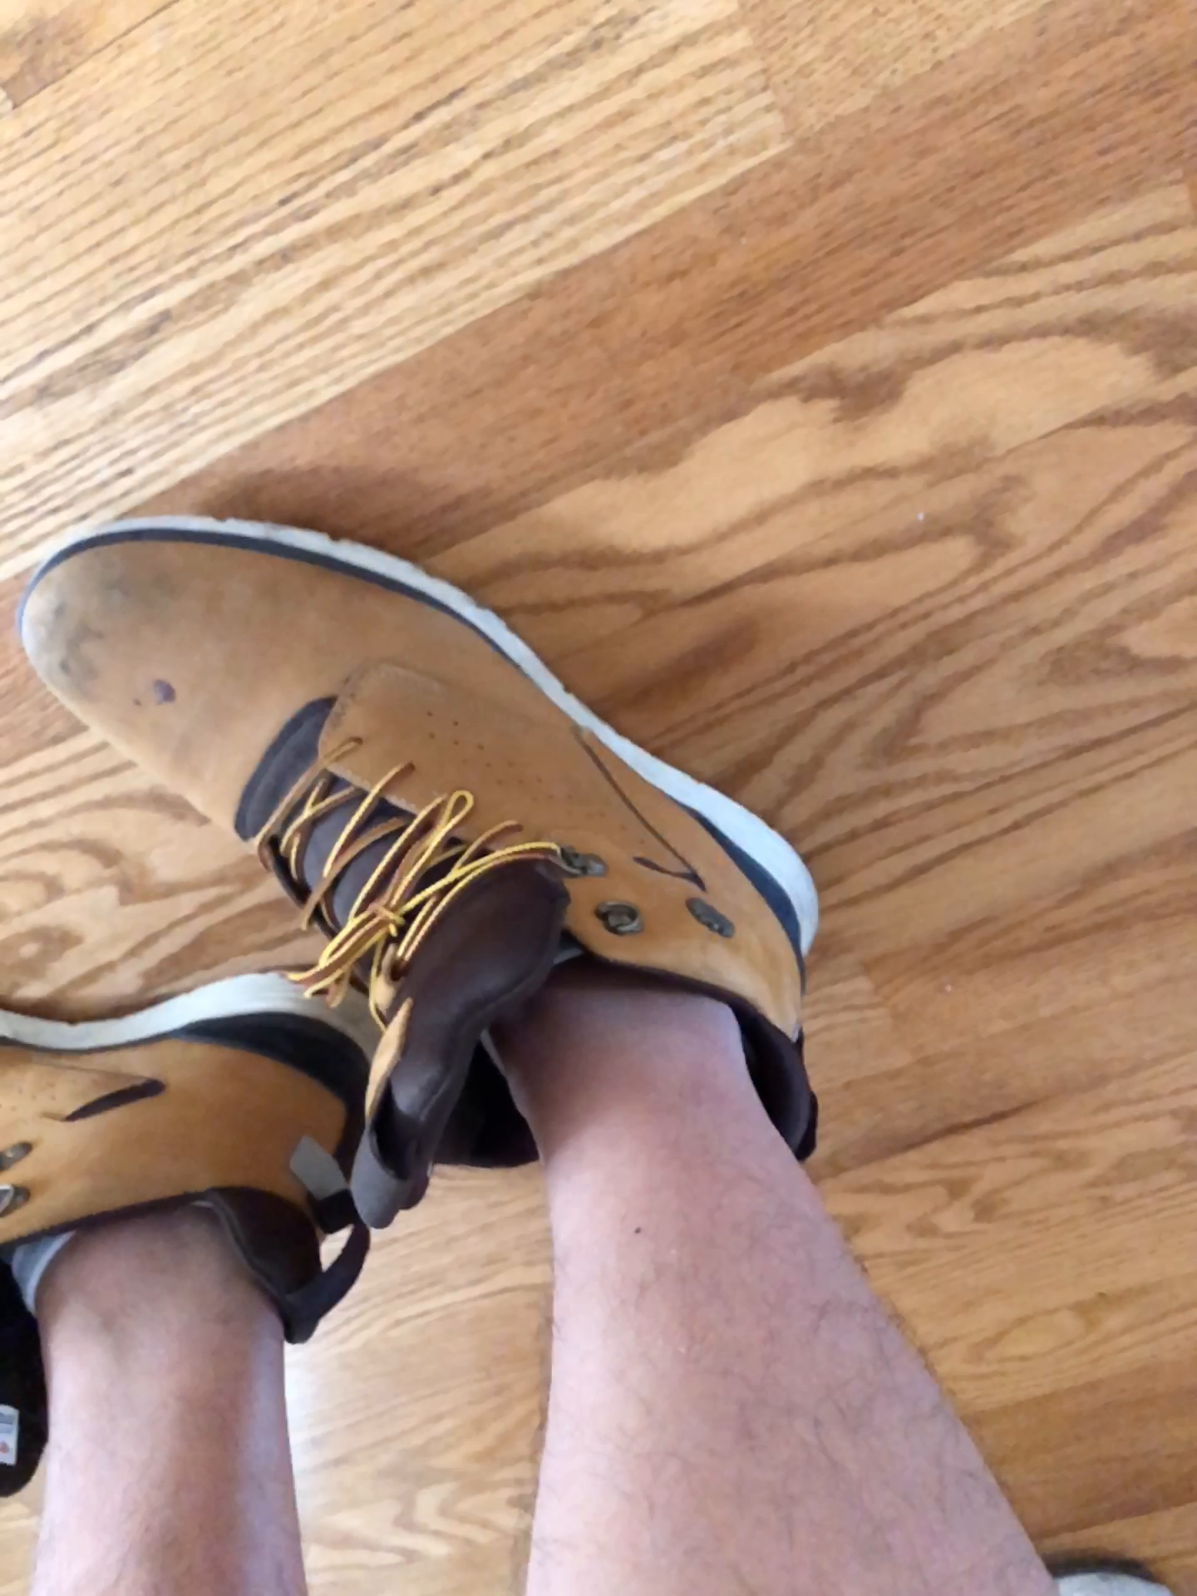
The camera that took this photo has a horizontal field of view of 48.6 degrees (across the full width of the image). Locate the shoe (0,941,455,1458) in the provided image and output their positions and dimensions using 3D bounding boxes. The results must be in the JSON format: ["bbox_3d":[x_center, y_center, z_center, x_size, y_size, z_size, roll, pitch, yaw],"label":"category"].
[{"bbox_3d":[-0.246,0.162,0.554,0.320,0.140,0.130,-5,119,16],"label":"shoe"}]

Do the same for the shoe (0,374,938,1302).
[{"bbox_3d":[-0.071,0.019,0.429,0.300,0.169,0.130,23,120,-22],"label":"shoe"}]
